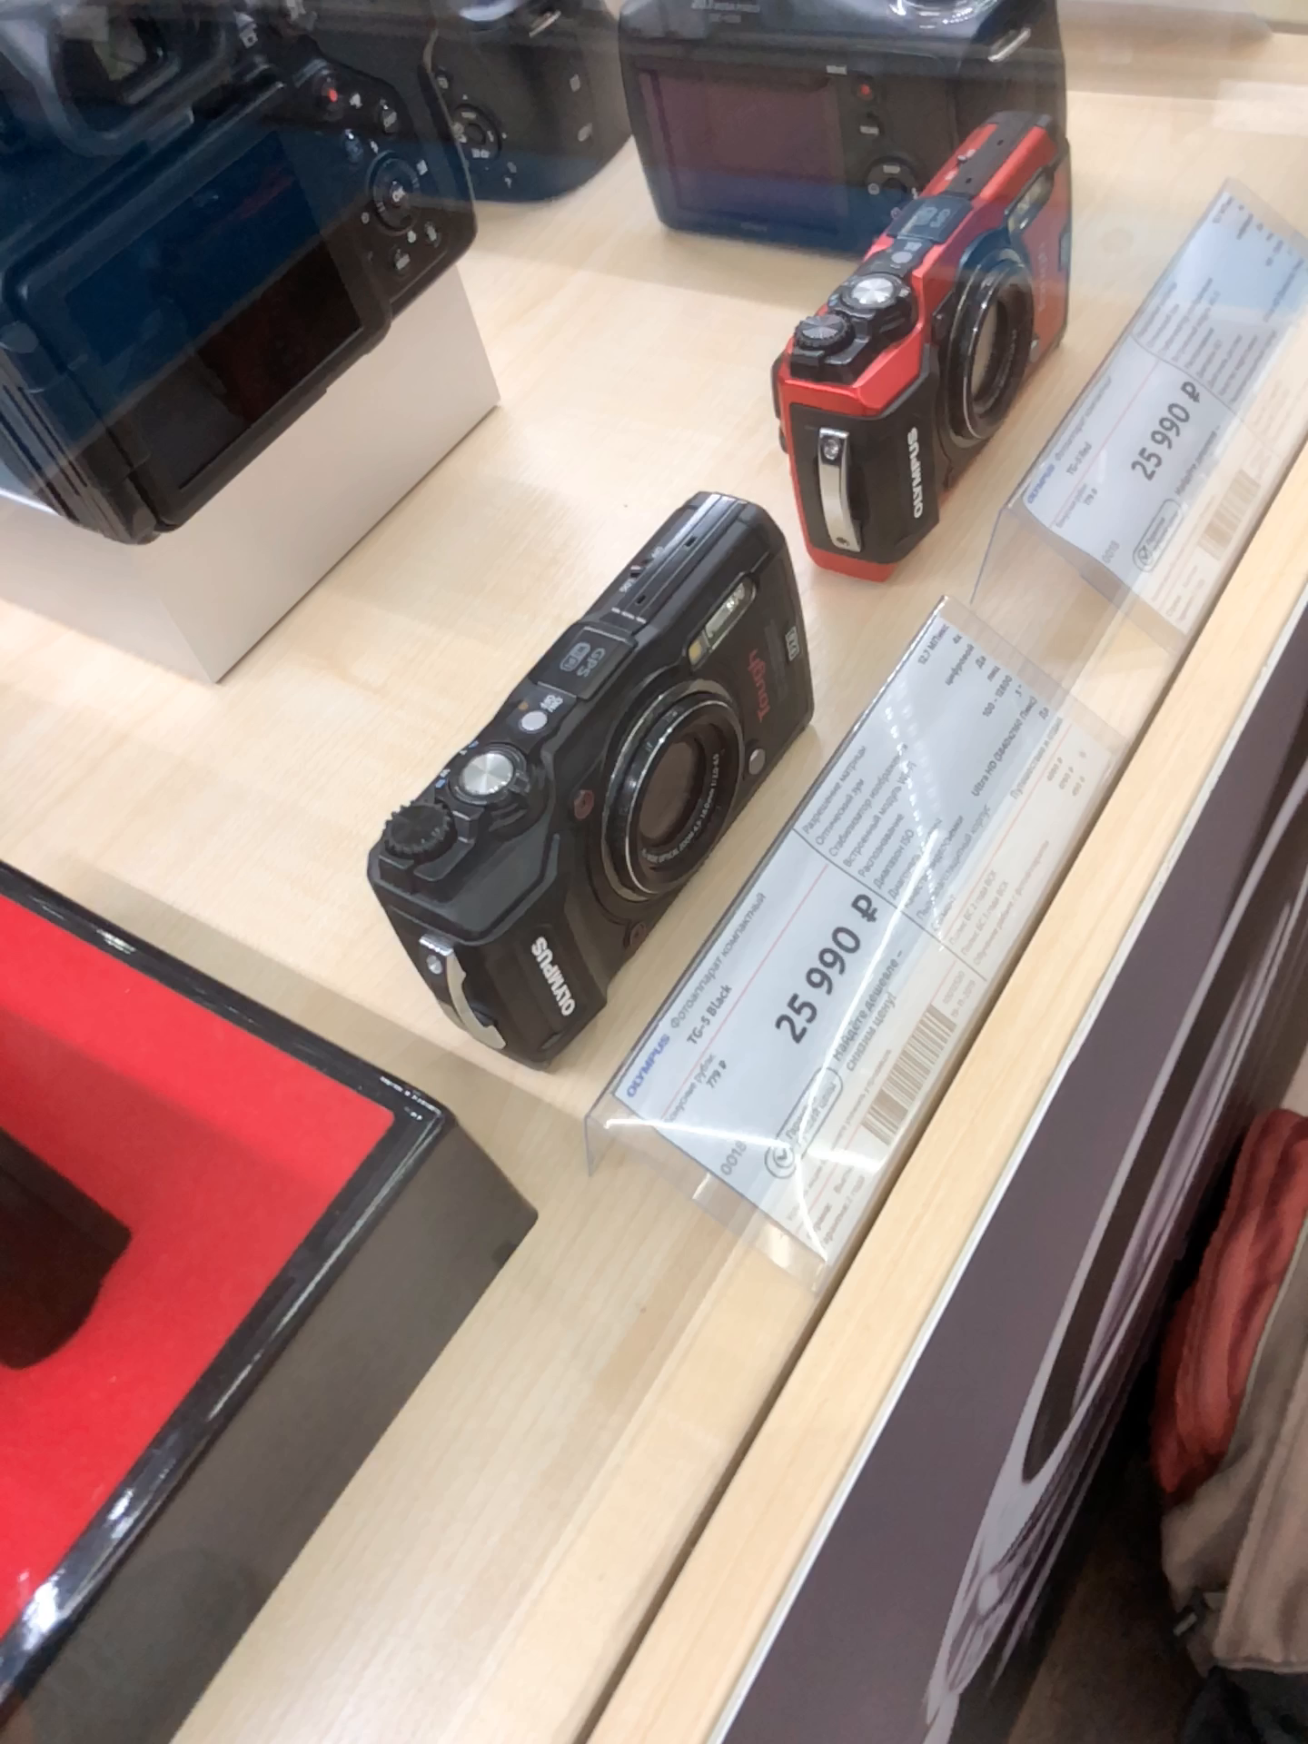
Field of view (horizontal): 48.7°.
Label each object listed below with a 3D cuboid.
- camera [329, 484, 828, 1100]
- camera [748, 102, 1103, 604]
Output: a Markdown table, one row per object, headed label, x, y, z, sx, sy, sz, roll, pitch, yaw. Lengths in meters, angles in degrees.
| label | x | y | z | sx | sy | sz | roll | pitch | yaw |
| --- | --- | --- | --- | --- | --- | --- | --- | --- | --- |
| camera | -0.009 | -0.019 | 0.304 | 0.030 | 0.060 | 0.117 | 23 | 62 | 29 |
| camera | 0.071 | -0.130 | 0.358 | 0.030 | 0.060 | 0.117 | 23 | 62 | 29 |
